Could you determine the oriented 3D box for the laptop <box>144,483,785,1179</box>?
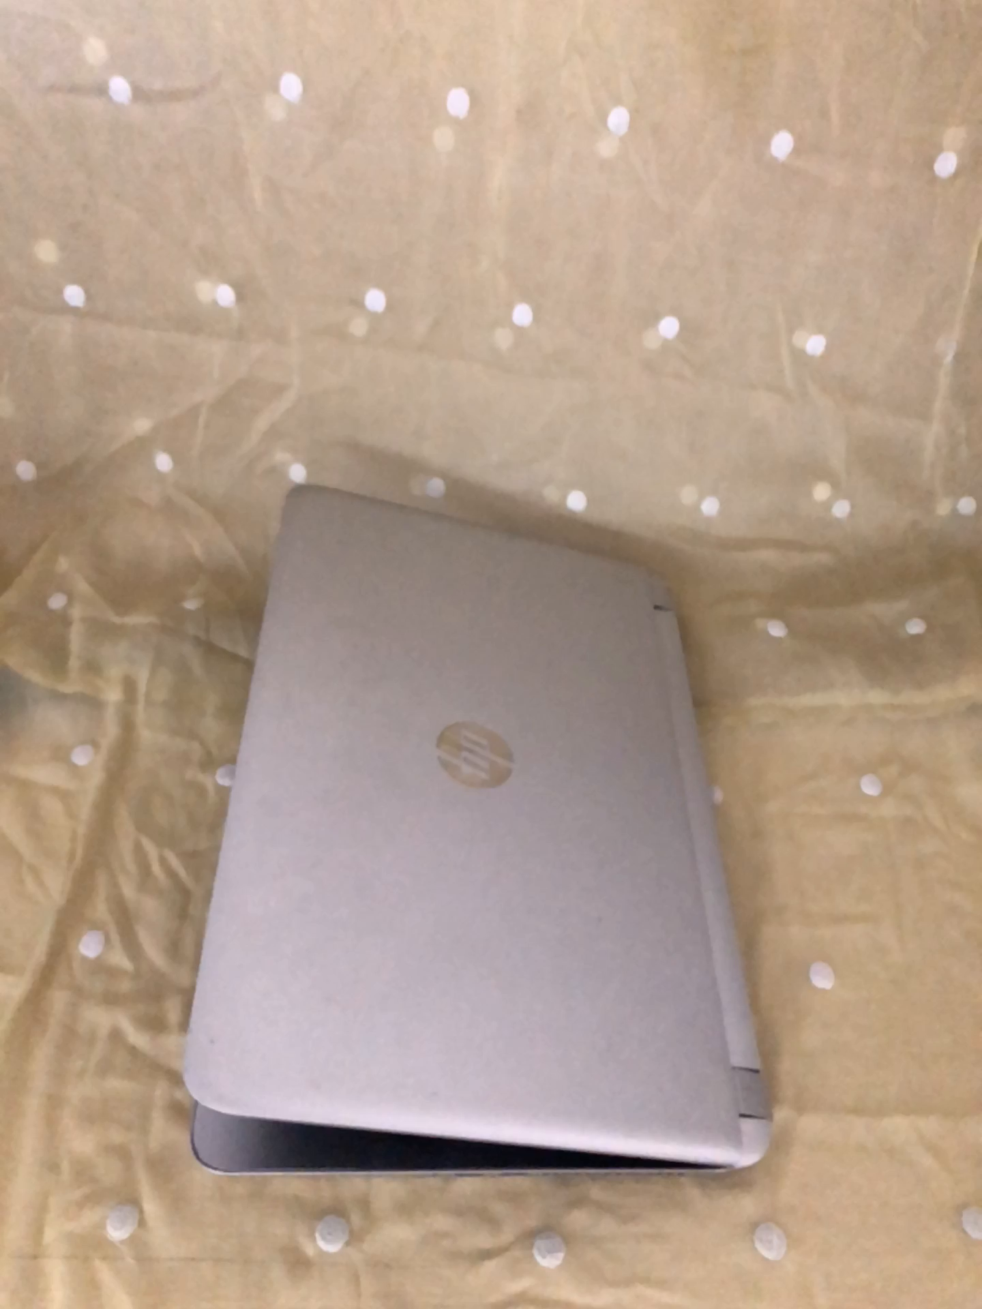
[{"bbox_3d":[-0.012,0.061,0.564,0.243,0.077,0.367,1,47,-2],"label":"laptop"}]
